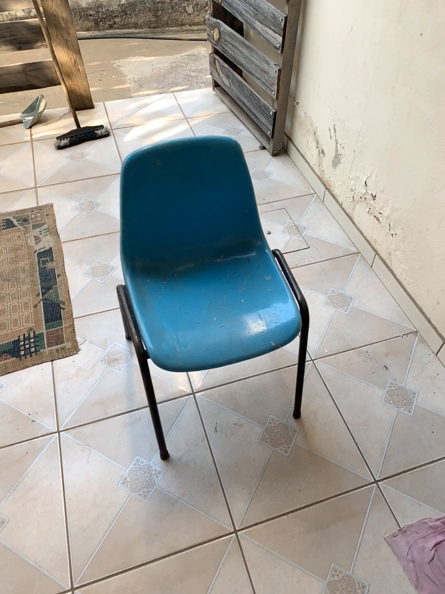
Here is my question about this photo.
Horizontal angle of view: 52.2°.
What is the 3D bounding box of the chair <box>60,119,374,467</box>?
[{"bbox_3d":[-0.047,0.009,1.250,0.550,0.687,0.532,-14,52,-11],"label":"chair"}]
